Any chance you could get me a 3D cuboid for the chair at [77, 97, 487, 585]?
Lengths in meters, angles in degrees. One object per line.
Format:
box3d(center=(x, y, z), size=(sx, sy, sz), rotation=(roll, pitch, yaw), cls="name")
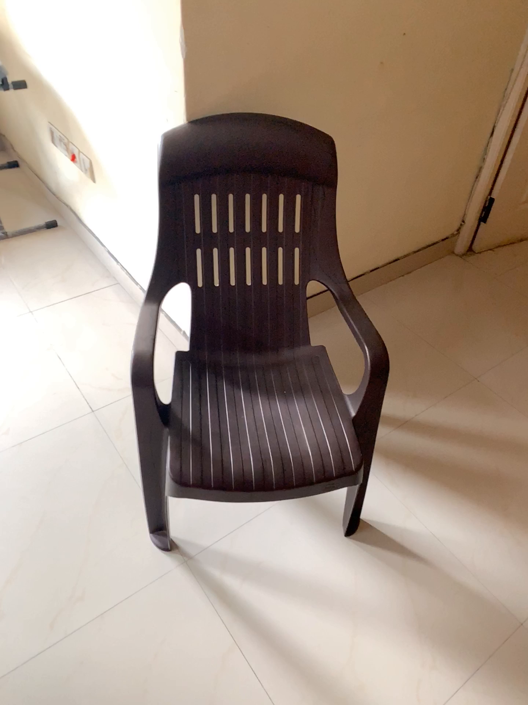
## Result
box3d(center=(-0.018, 0.011, 1.364), size=(0.600, 1.031, 0.666), rotation=(-1, 42, -6), cls="chair")
